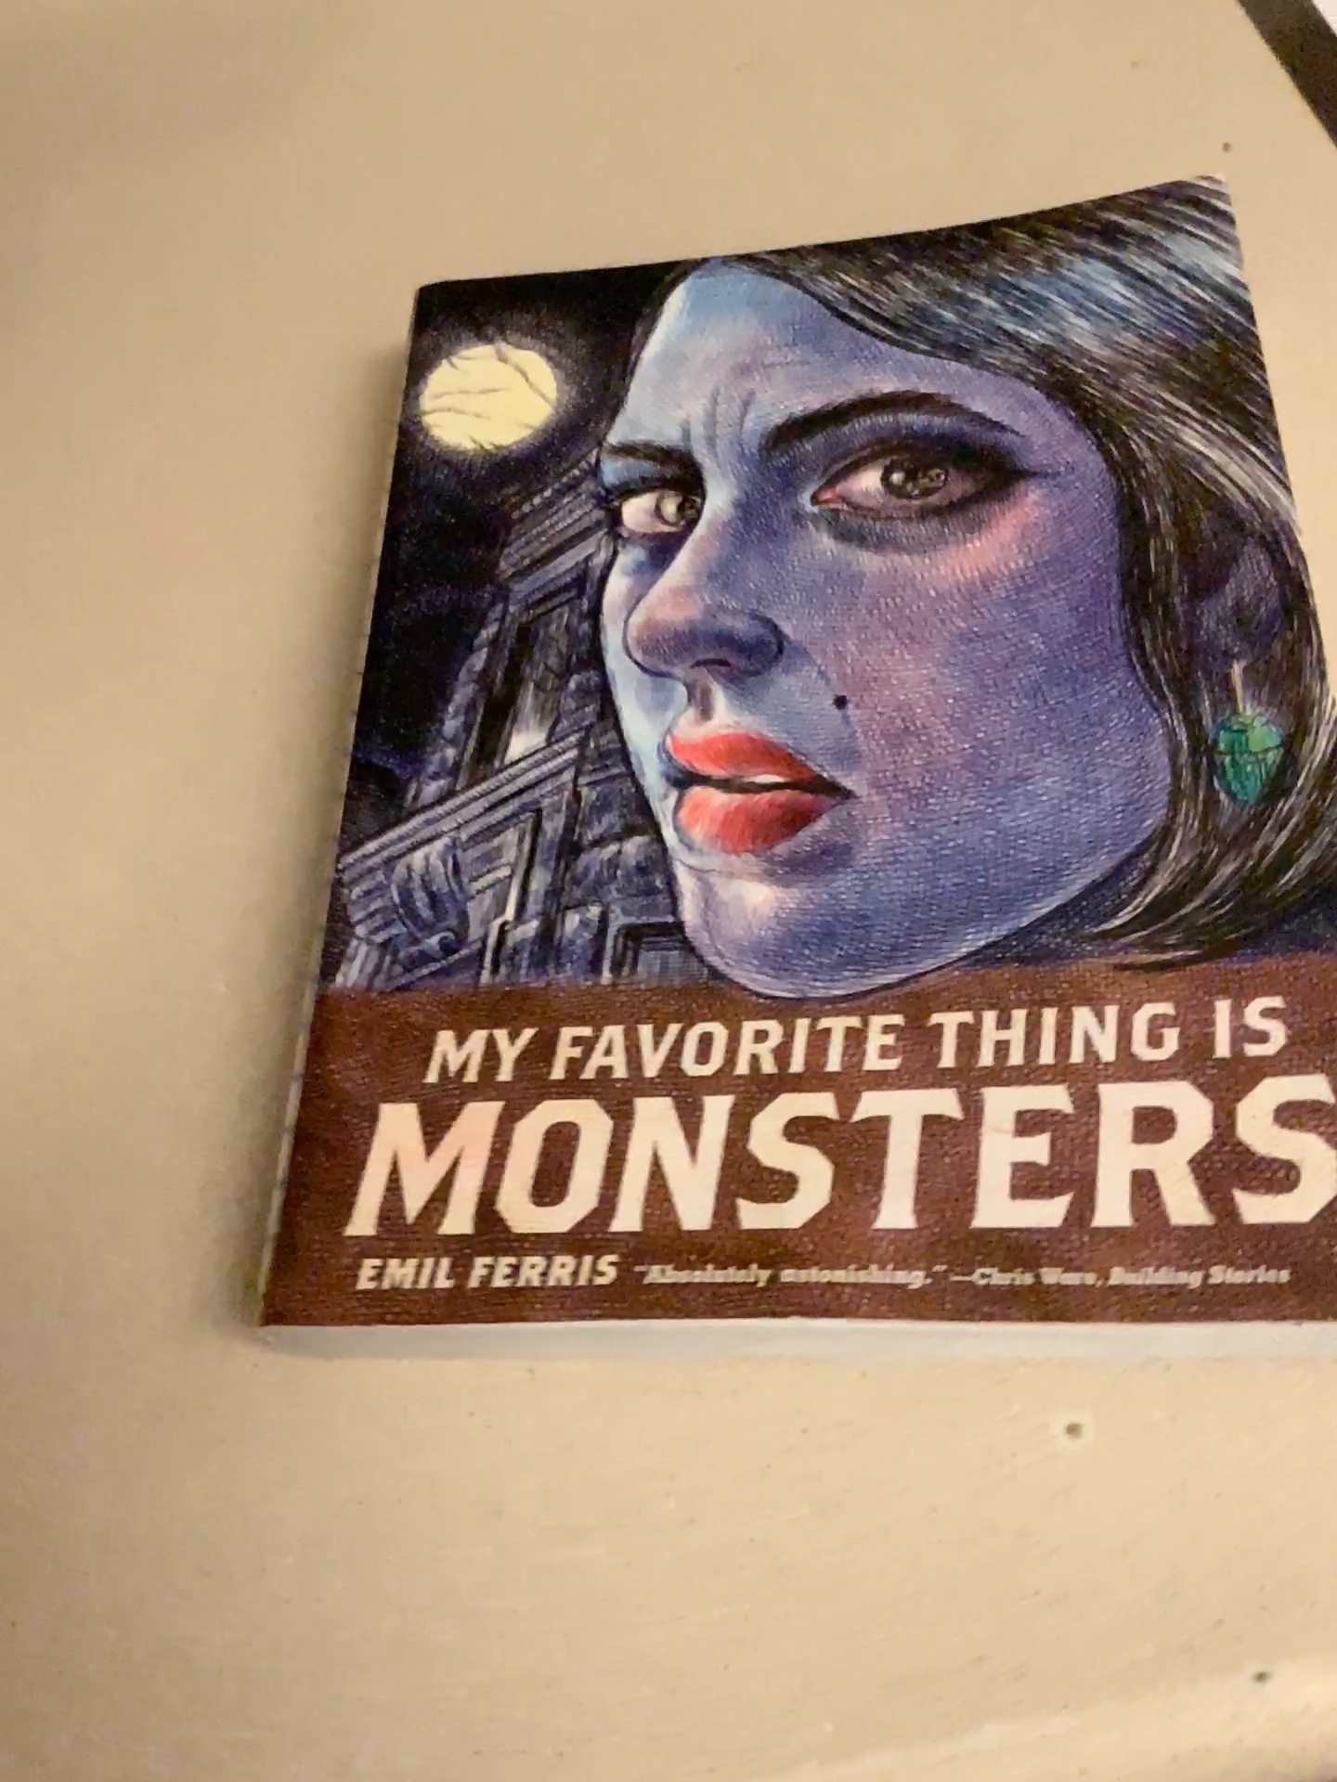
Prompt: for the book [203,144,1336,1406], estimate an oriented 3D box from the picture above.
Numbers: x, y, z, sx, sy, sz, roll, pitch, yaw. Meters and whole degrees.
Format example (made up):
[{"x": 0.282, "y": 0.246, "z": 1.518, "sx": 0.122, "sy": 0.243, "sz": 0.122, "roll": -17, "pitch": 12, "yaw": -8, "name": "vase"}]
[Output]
[{"x": 0.028, "y": -0.038, "z": 0.312, "sx": 0.200, "sy": 0.040, "sz": 0.270, "roll": -3, "pitch": 61, "yaw": 8, "name": "book"}]
